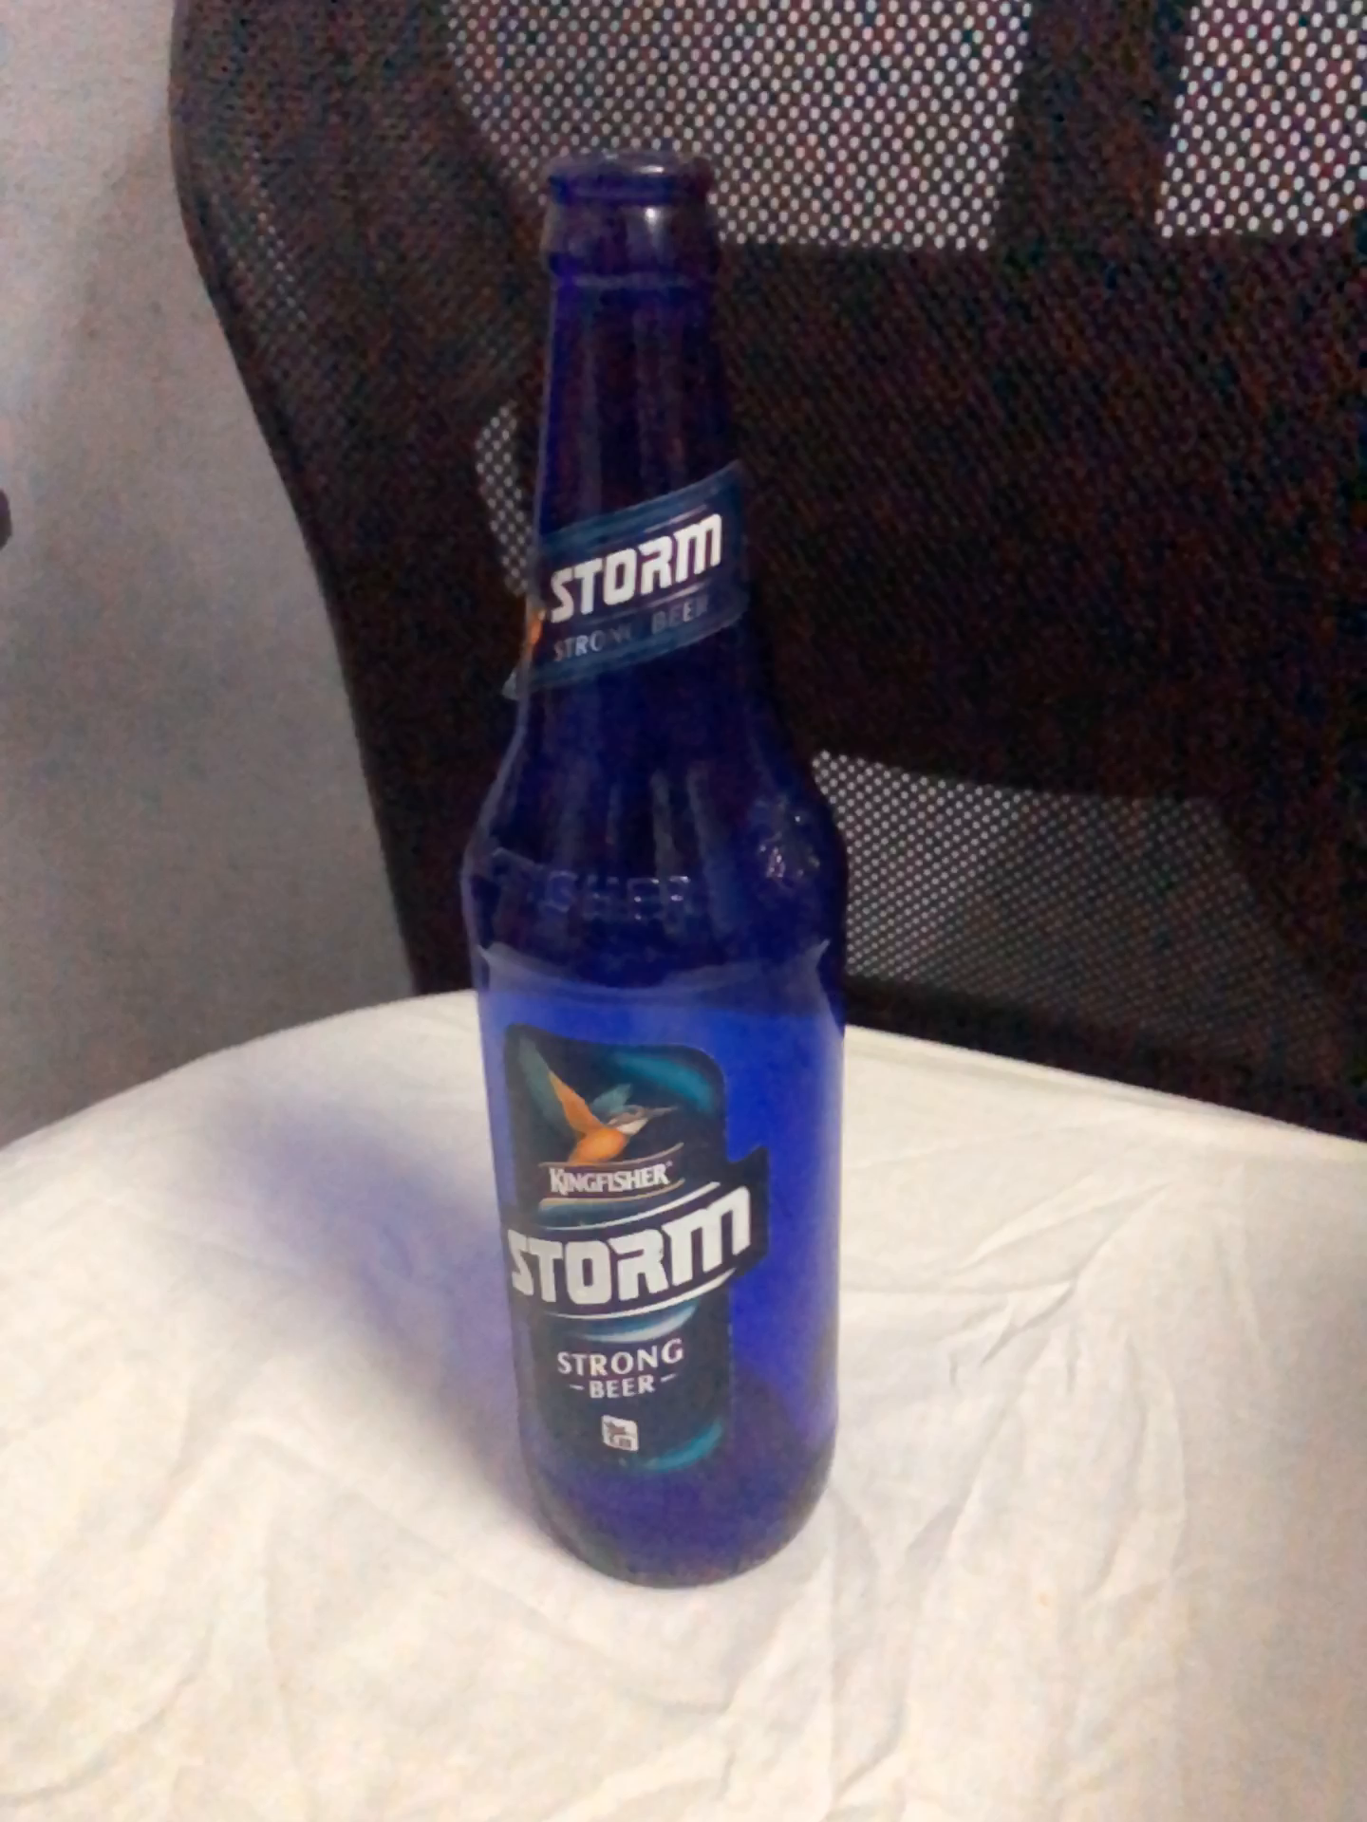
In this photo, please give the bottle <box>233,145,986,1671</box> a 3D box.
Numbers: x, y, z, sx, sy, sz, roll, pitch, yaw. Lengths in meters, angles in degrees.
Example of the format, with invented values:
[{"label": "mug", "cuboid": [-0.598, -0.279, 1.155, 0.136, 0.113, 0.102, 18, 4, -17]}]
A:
[{"label": "bottle", "cuboid": [-0.005, 0.012, 0.269, 0.080, 0.259, 0.070, 10, 32, 17]}]
